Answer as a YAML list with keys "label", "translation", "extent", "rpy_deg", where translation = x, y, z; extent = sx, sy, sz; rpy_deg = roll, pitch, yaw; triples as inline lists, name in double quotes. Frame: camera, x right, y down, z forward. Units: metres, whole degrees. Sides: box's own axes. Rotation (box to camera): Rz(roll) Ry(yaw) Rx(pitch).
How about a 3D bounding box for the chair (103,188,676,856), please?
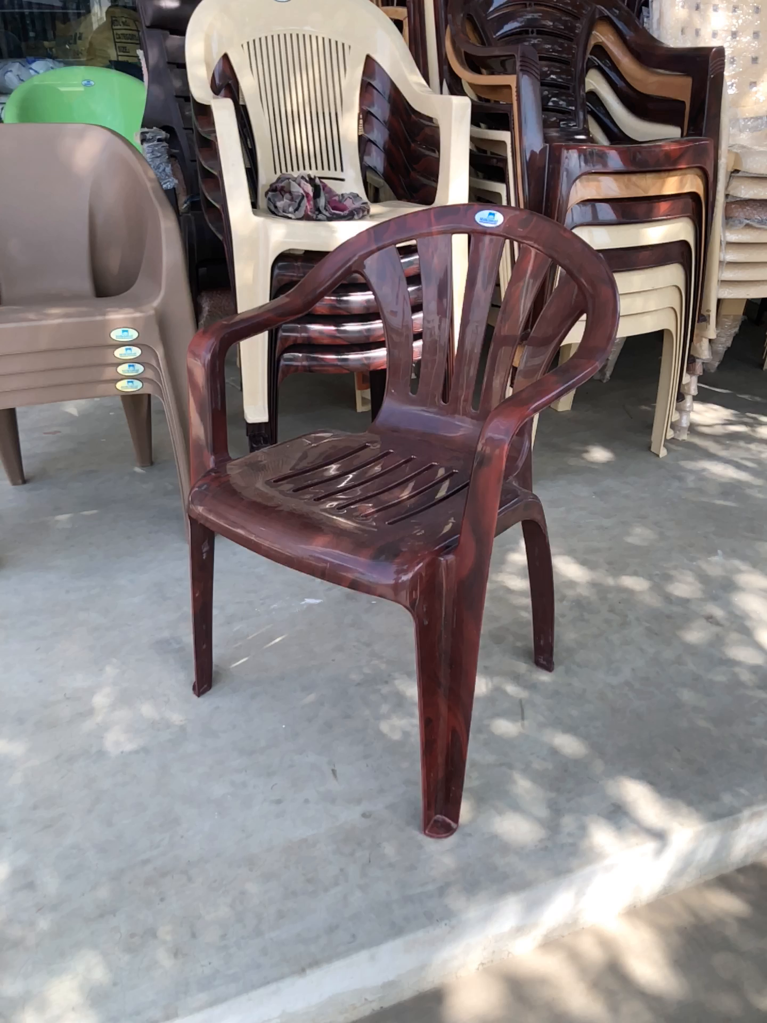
- label: "chair"
  translation: [0.020, -0.048, 1.312]
  extent: [0.580, 0.766, 0.523]
  rpy_deg: [19, 33, 32]
